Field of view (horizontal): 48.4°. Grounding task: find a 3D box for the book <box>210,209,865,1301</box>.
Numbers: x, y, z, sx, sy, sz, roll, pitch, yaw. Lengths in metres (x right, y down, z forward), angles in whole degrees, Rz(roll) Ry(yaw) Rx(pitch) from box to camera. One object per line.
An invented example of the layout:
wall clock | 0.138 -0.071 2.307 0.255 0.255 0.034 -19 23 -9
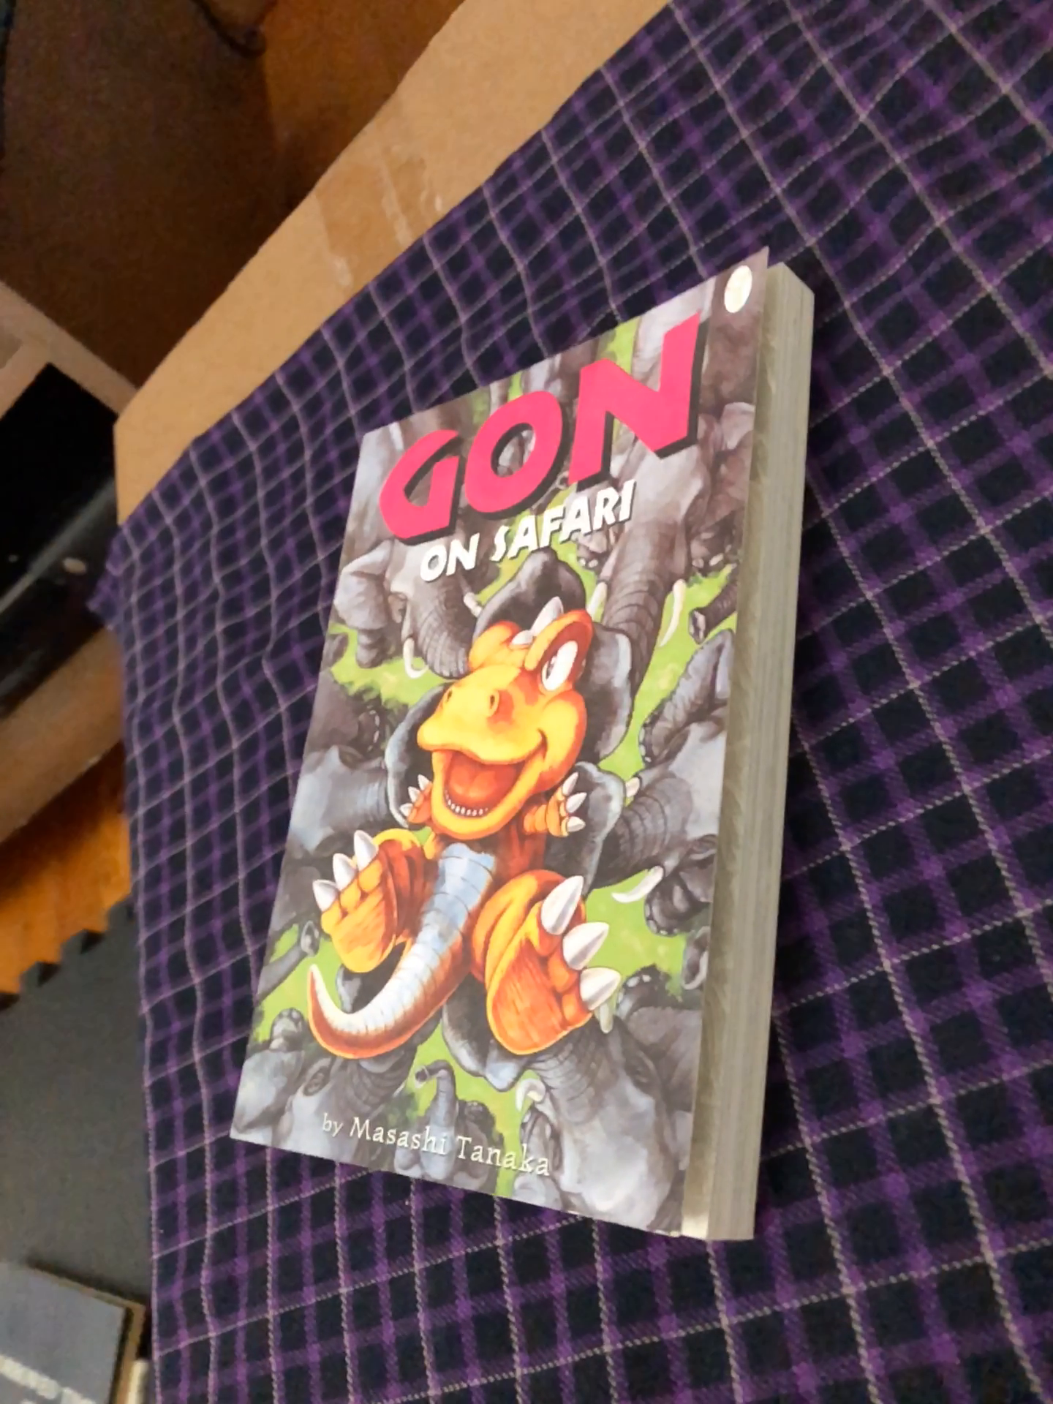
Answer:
book | 0.000 0.006 0.272 0.151 0.020 0.210 -9 65 42
